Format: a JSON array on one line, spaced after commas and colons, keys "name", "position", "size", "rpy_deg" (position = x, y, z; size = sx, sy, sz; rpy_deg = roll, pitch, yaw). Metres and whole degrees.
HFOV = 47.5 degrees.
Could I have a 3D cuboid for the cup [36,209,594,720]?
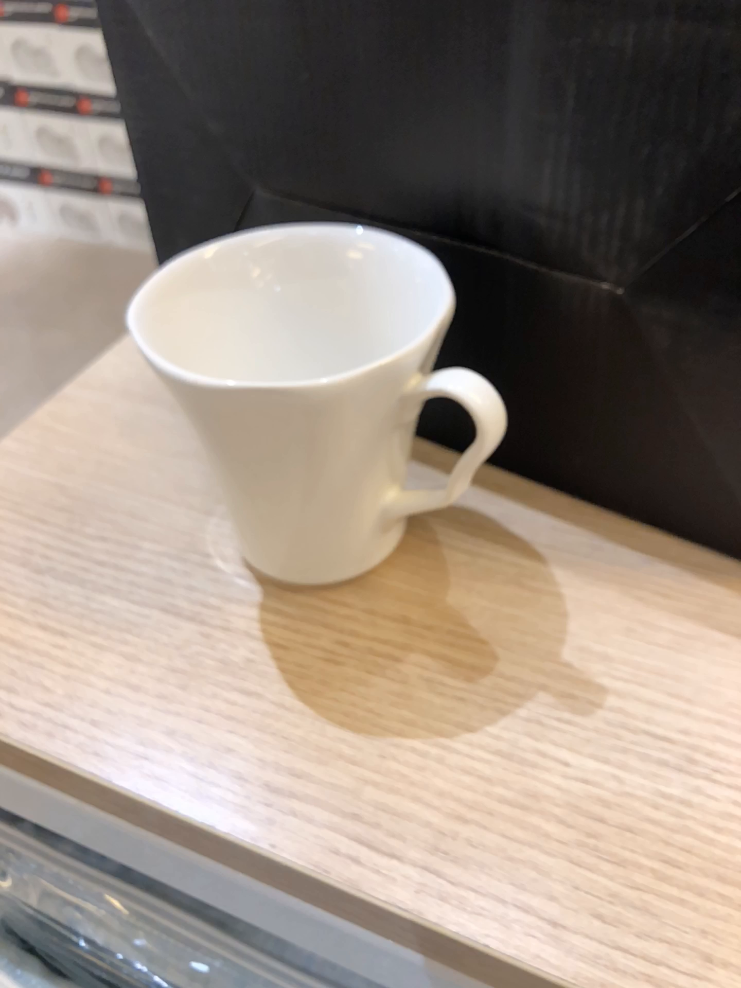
[{"name": "cup", "position": [-0.011, -0.015, 0.231], "size": [0.110, 0.079, 0.080], "rpy_deg": [21, 48, 26]}]
